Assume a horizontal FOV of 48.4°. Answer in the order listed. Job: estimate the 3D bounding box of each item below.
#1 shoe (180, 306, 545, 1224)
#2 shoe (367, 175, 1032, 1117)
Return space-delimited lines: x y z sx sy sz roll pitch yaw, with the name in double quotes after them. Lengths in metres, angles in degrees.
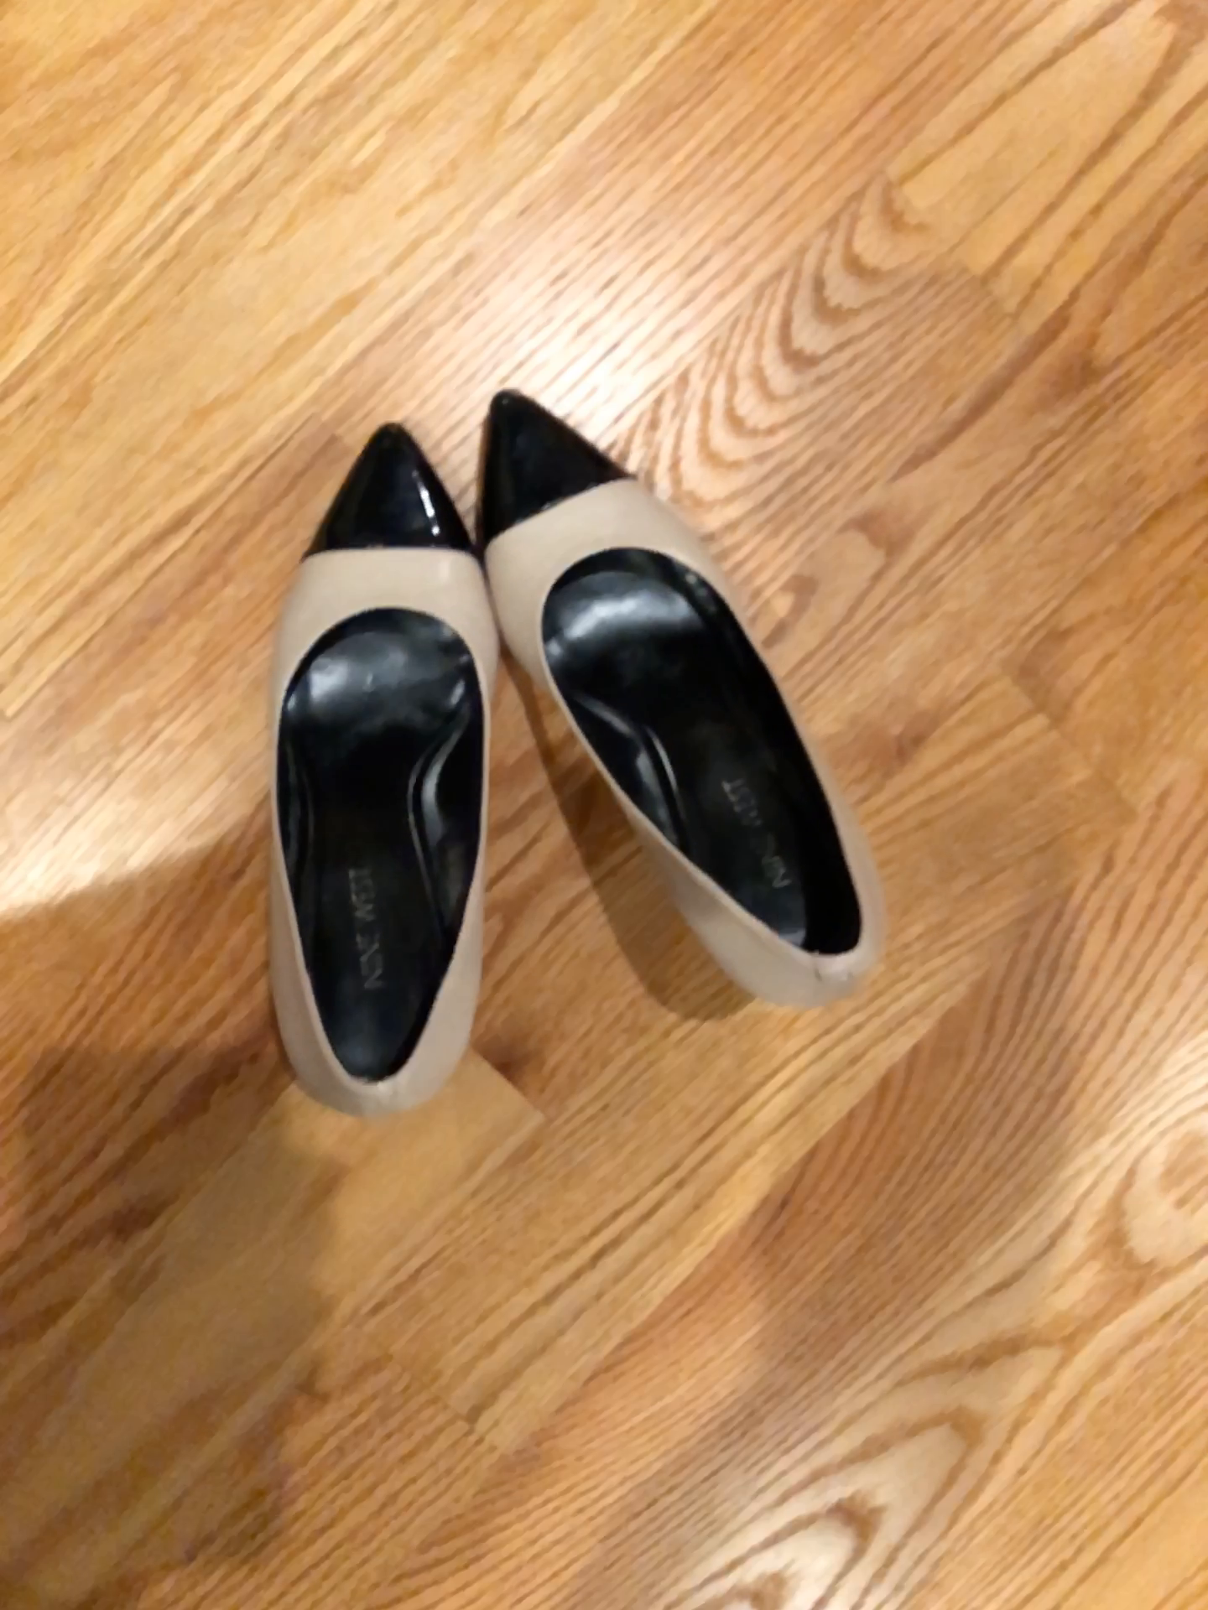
-0.071 -0.011 0.417 0.085 0.139 0.235 2 95 -7 "shoe"
0.022 -0.044 0.425 0.085 0.139 0.235 -27 97 -4 "shoe"
